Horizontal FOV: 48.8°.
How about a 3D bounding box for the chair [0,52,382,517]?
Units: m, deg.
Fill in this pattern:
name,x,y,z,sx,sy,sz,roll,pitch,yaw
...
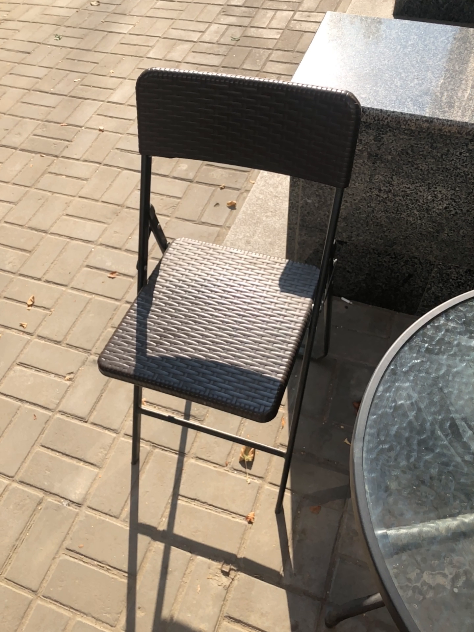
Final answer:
name,x,y,z,sx,sy,sz,roll,pitch,yaw
chair,-0.040,-0.015,1.072,0.450,0.748,0.511,14,56,13
